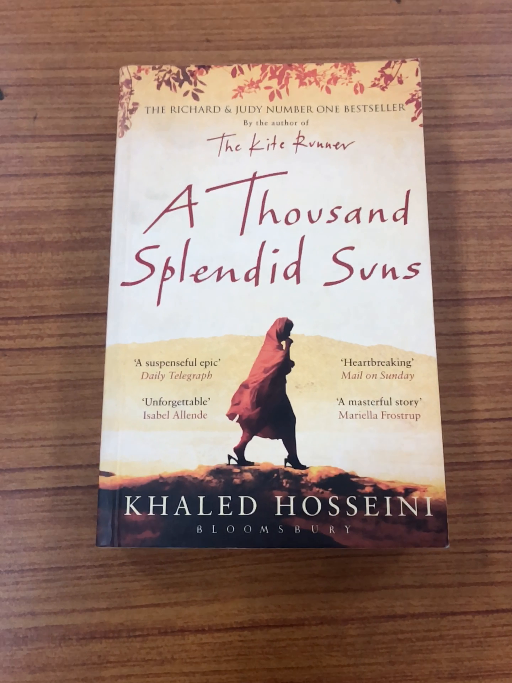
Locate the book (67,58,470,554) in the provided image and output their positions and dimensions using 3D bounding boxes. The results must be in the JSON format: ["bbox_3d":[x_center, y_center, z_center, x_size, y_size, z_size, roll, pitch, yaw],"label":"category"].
[{"bbox_3d":[0.004,-0.018,0.230,0.140,0.030,0.190,0,80,-1],"label":"book"}]
